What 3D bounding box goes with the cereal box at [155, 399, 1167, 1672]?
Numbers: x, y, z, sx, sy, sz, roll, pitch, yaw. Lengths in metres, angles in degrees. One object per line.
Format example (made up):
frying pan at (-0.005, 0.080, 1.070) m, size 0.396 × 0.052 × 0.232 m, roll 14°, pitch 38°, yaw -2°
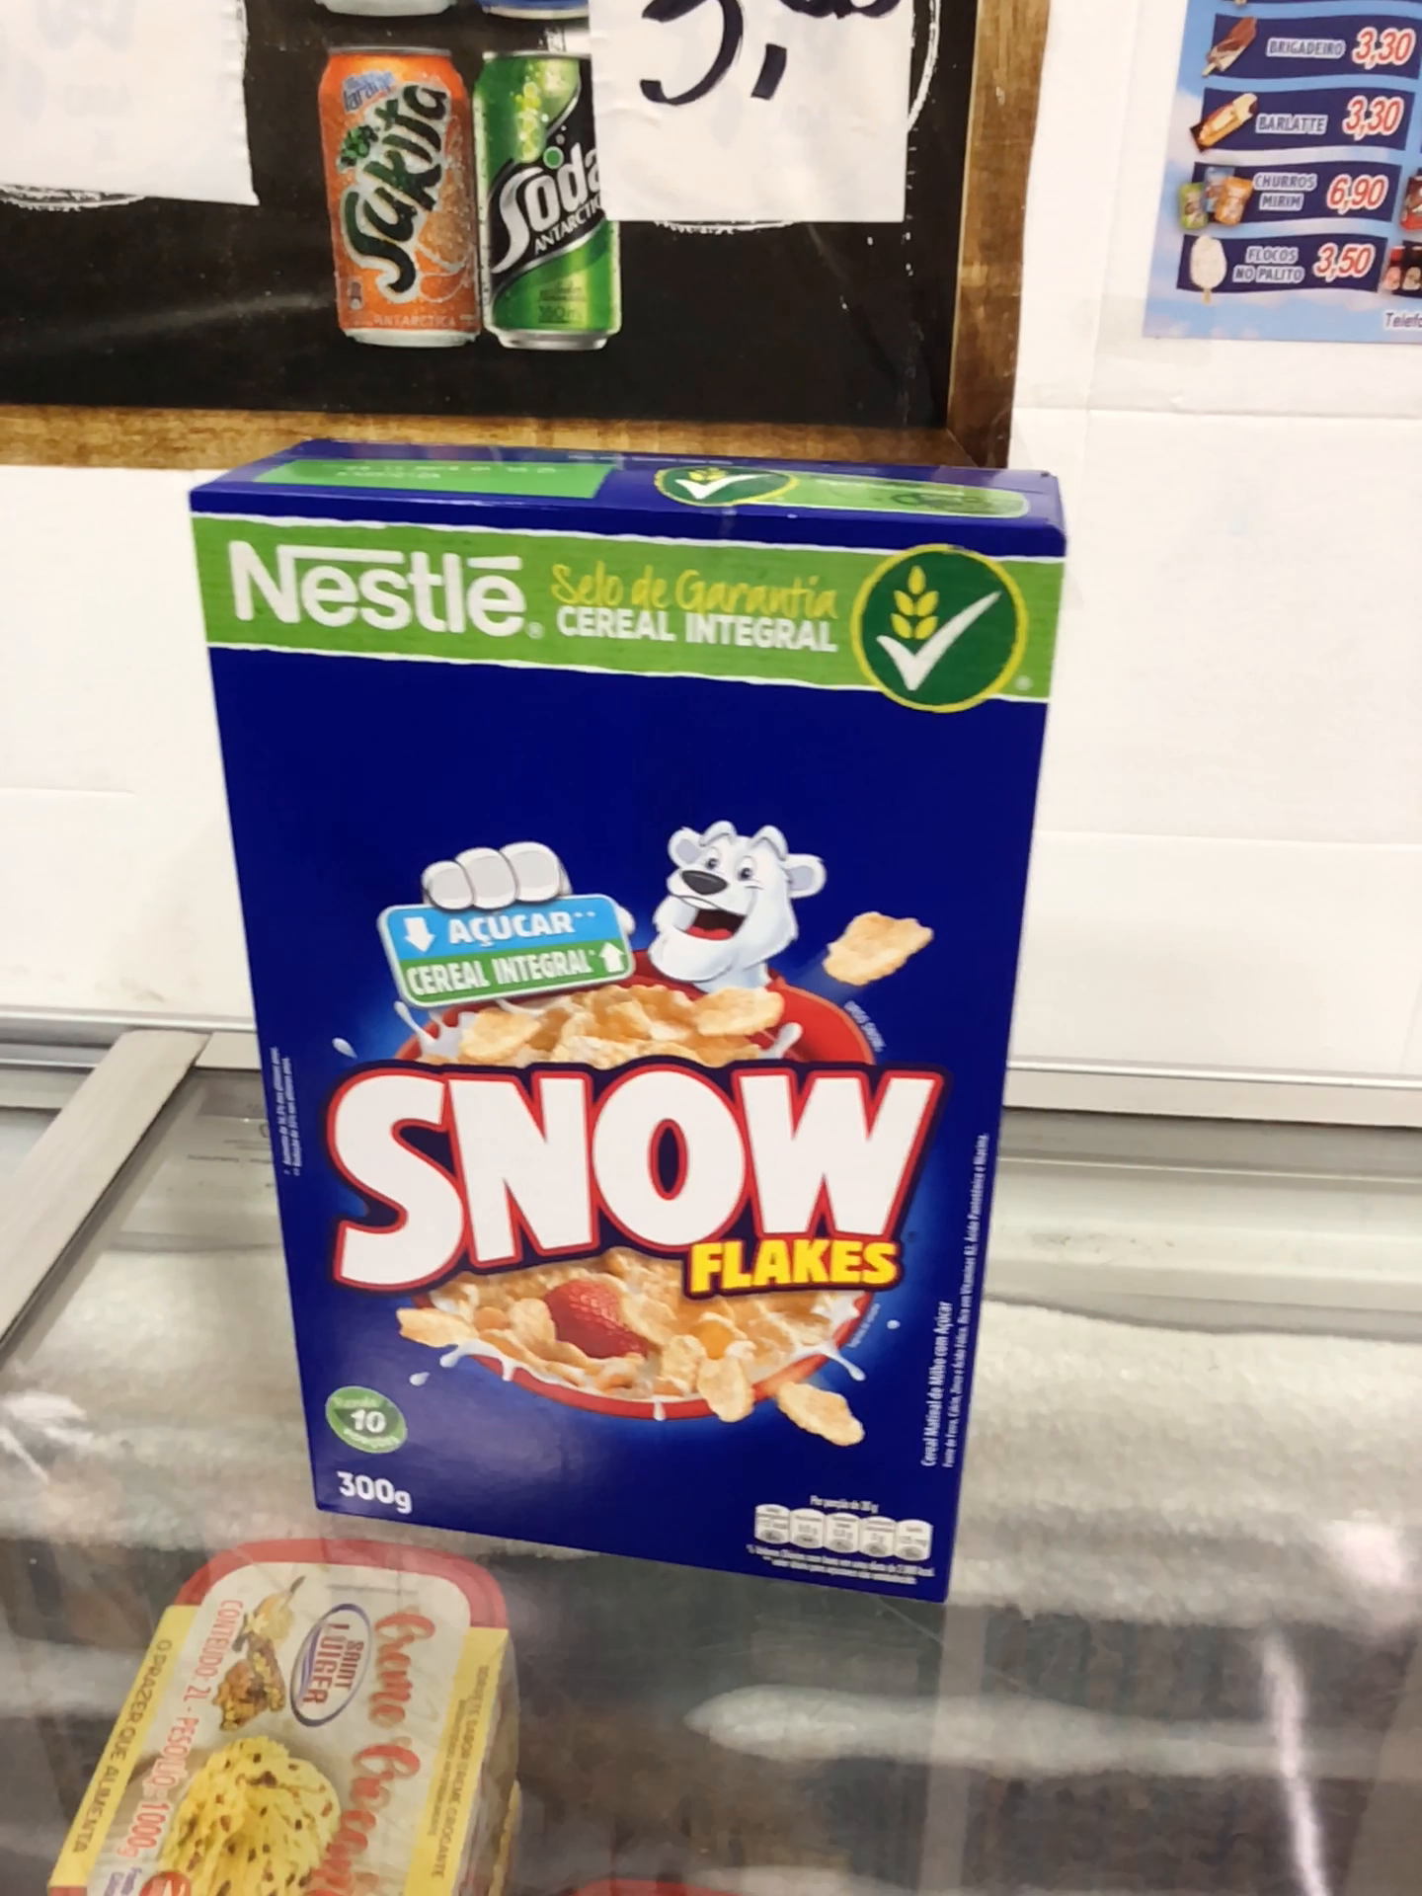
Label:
cereal box at (-0.008, 0.024, 0.346) m, size 0.170 × 0.258 × 0.070 m, roll 6°, pitch 27°, yaw 10°
